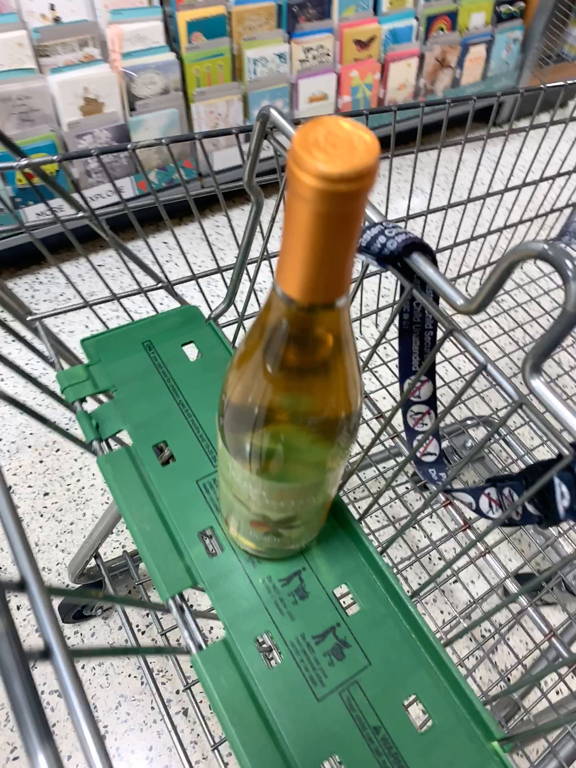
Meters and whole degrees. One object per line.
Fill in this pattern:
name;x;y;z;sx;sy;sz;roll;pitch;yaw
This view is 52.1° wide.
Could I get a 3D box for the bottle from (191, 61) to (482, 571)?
bottle;0.006;0.006;0.314;0.083;0.297;0.087;3;57;-5
